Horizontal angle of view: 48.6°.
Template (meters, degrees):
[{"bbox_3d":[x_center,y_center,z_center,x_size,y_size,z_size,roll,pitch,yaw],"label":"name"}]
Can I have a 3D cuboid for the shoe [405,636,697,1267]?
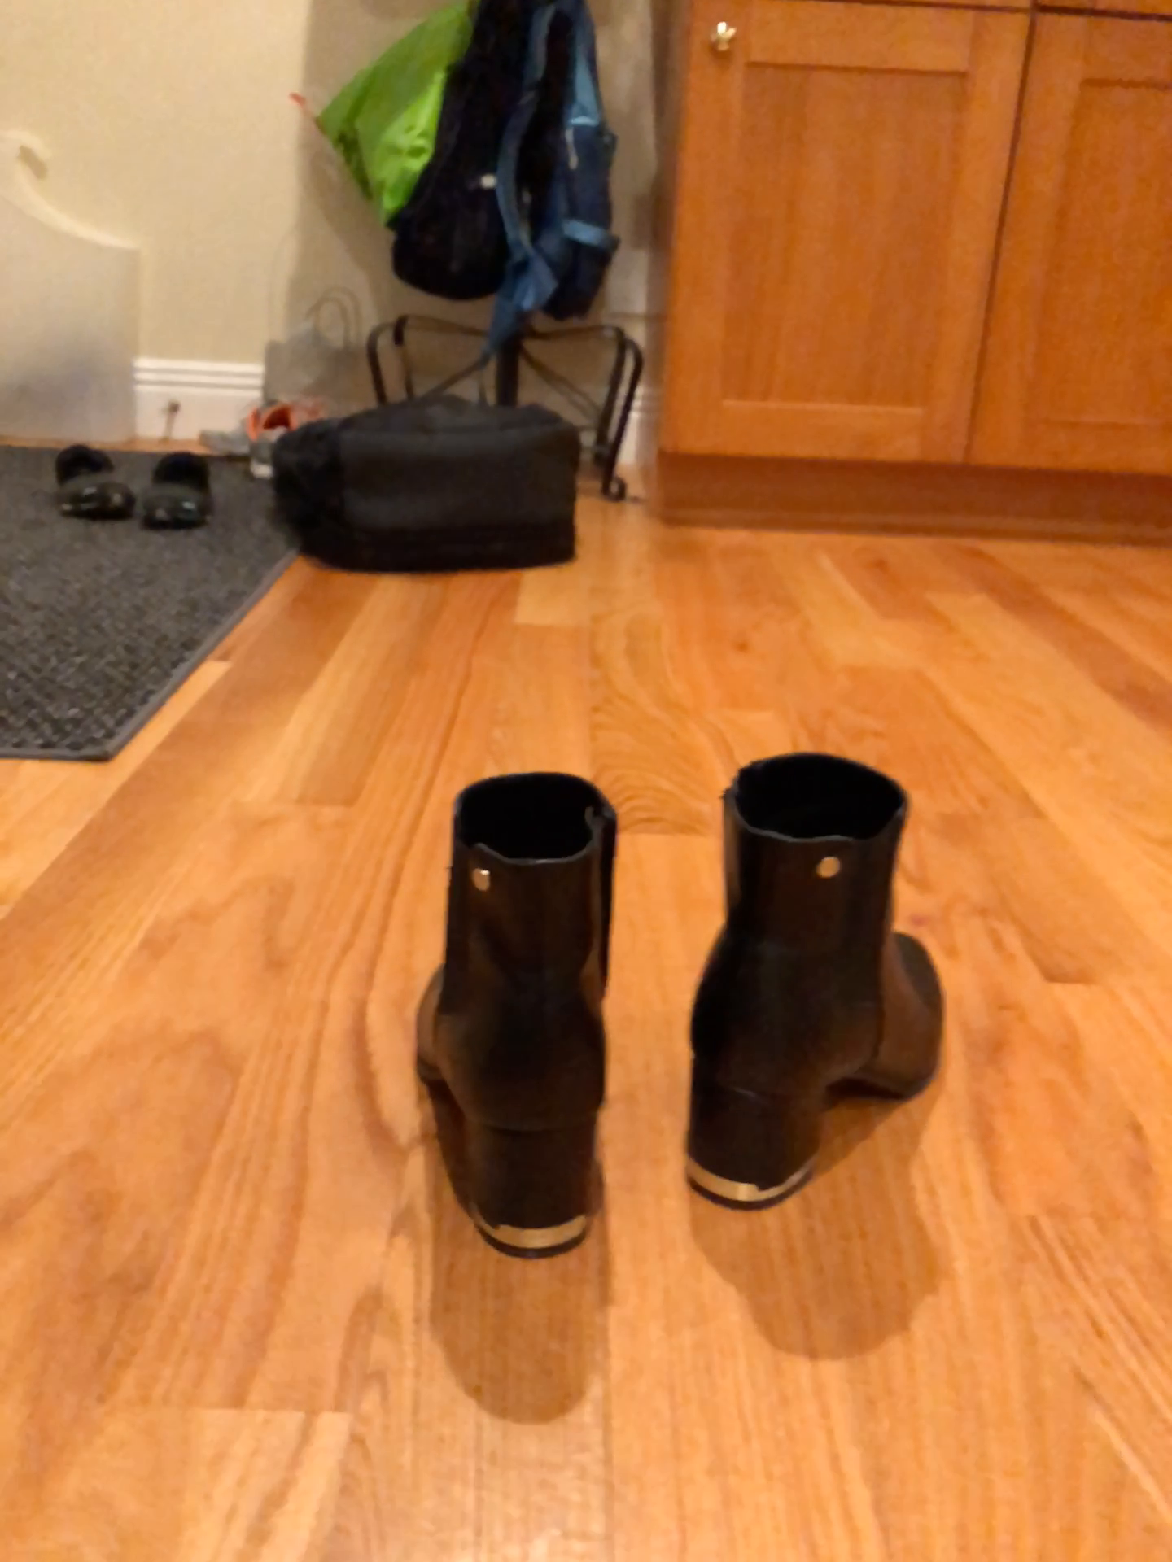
[{"bbox_3d":[-0.029,0.054,0.561,0.095,0.175,0.237,0,21,-7],"label":"shoe"}]

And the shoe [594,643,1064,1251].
[{"bbox_3d":[0.115,0.054,0.580,0.095,0.175,0.237,16,24,32],"label":"shoe"}]
